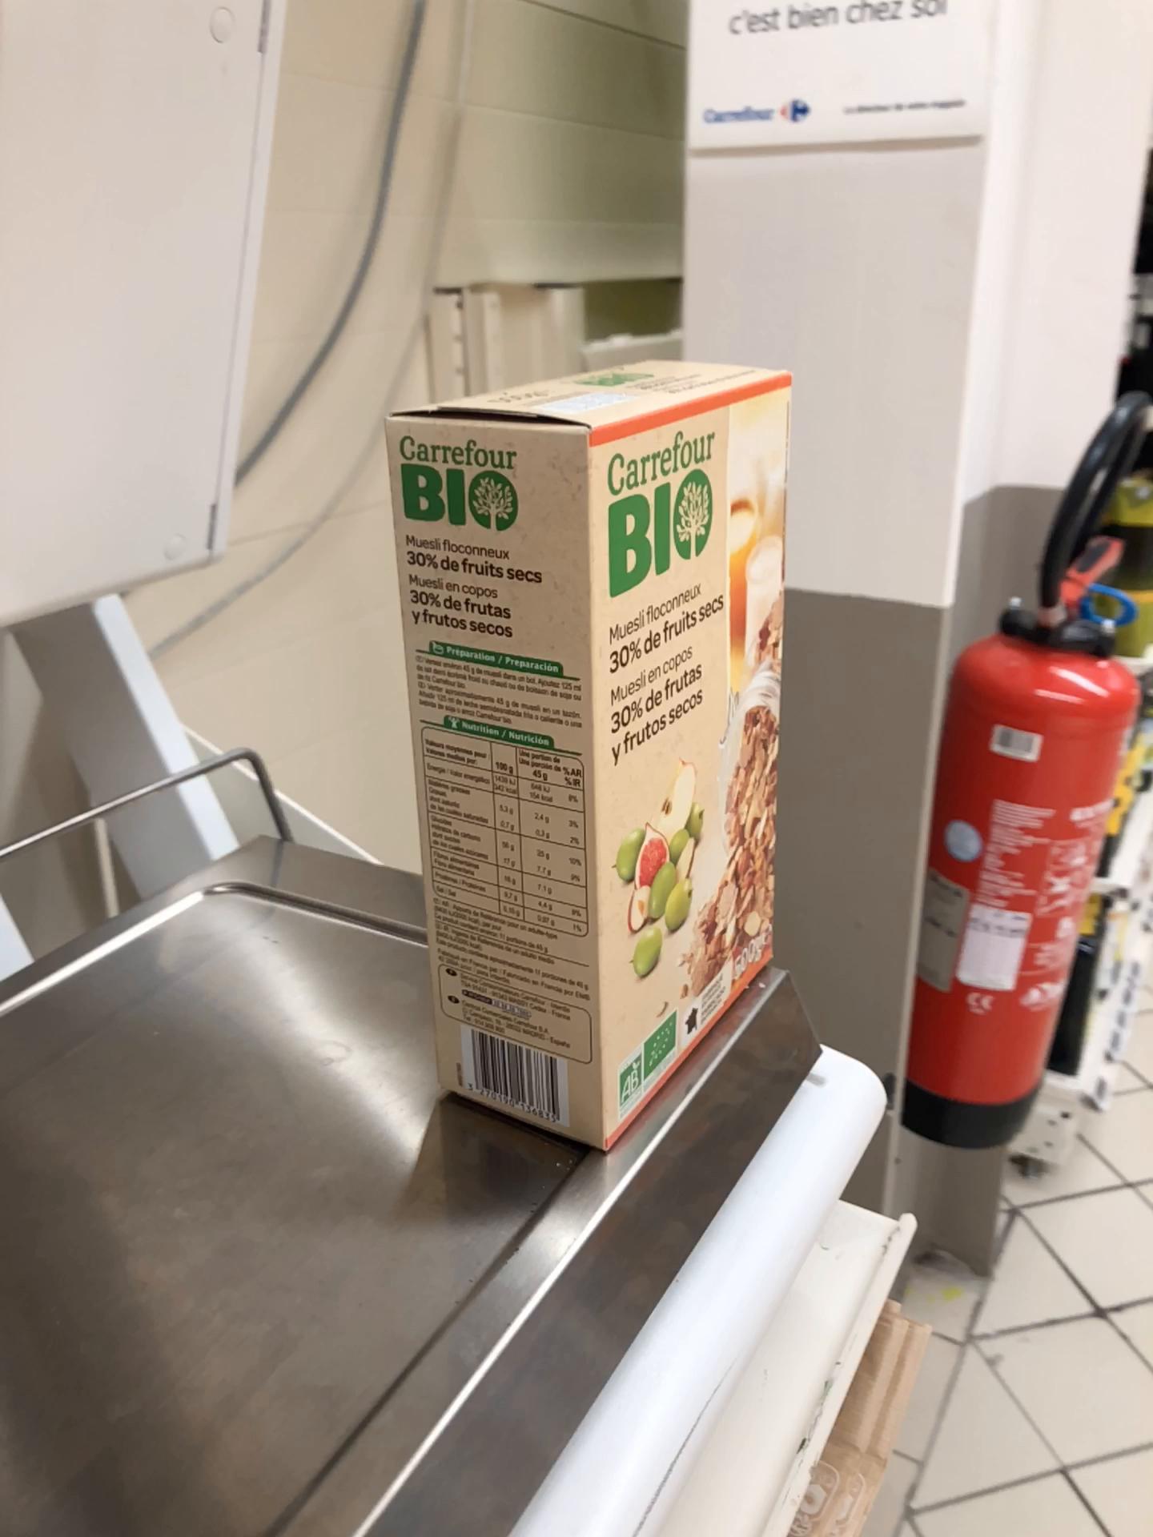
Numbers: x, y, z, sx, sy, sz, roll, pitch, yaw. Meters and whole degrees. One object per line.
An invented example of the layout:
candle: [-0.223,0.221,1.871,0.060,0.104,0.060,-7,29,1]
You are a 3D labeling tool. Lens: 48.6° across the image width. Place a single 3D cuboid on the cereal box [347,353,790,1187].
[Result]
cereal box: [0.005,-0.007,0.382,0.060,0.209,0.131,13,27,28]
